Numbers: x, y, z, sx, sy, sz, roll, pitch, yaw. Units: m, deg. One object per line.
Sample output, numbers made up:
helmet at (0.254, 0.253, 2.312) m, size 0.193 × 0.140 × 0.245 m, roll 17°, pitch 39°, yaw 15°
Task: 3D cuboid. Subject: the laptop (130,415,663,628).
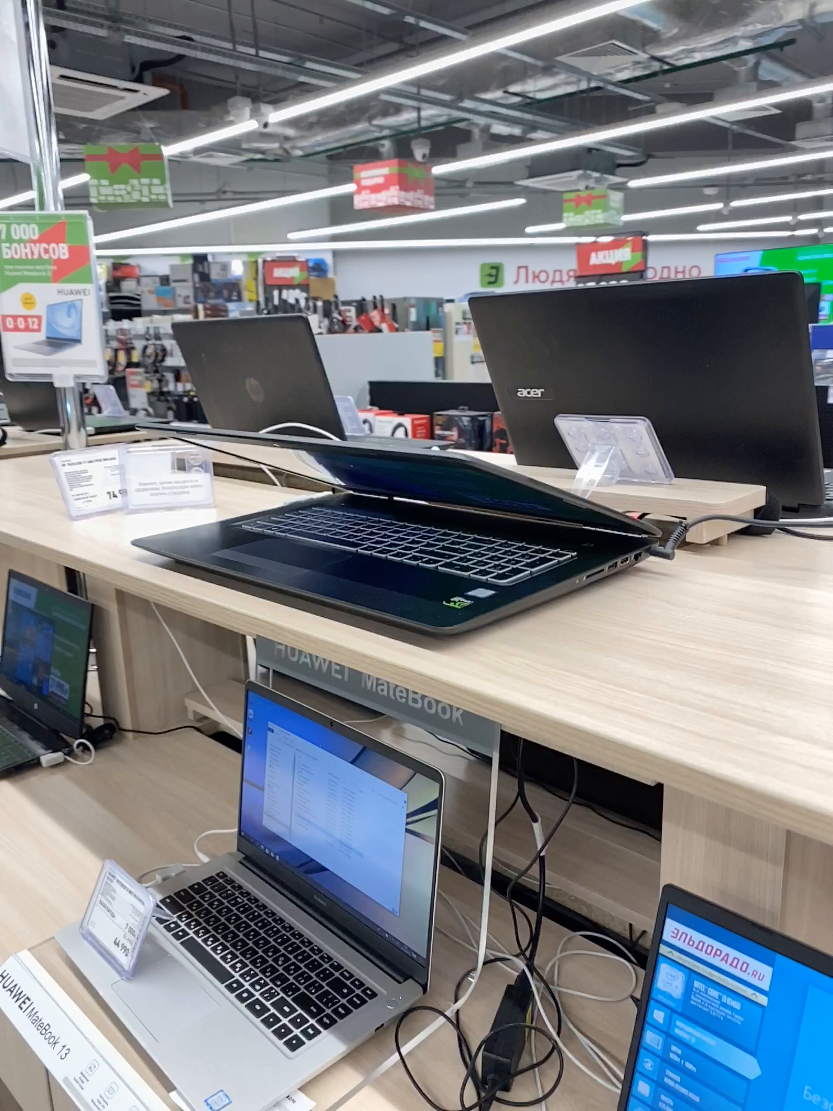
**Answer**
laptop at (-0.034, -0.059, 0.770) m, size 0.415 × 0.095 × 0.268 m, roll 11°, pitch 20°, yaw 44°
